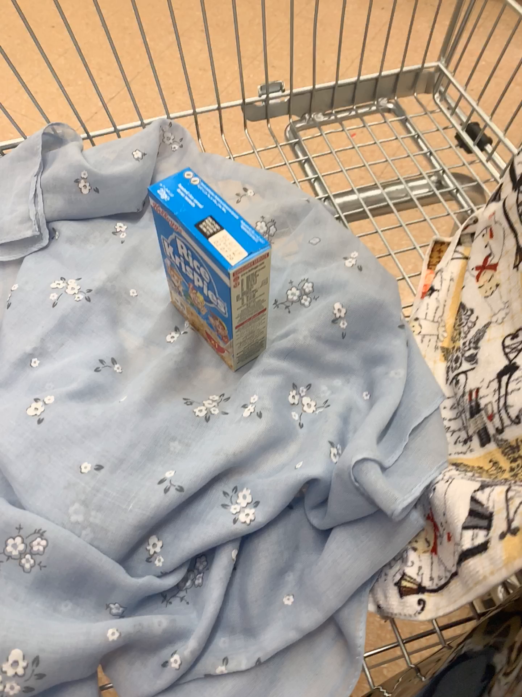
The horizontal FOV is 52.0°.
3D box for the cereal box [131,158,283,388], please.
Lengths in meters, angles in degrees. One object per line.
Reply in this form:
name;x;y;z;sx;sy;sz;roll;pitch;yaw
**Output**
cereal box;-0.033;-0.047;0.388;0.040;0.139;0.100;-37;66;-18
